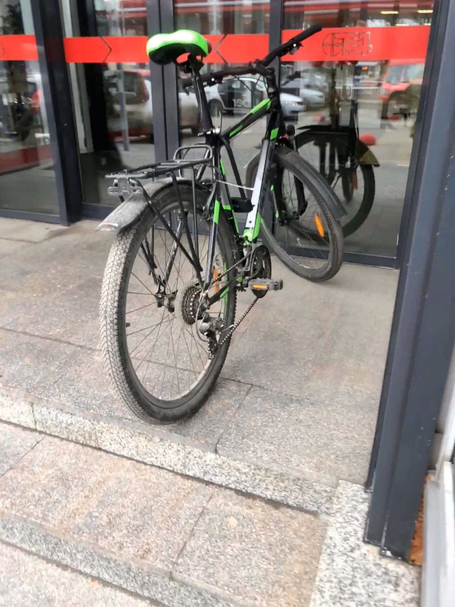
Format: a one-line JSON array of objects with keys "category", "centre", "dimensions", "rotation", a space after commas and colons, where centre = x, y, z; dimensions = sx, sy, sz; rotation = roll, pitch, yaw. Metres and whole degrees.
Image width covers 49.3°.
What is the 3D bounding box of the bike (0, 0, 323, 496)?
[{"category": "bike", "centre": [-0.074, -0.368, 1.733], "dimensions": [0.629, 1.051, 1.552], "rotation": [6, 25, 13]}]
